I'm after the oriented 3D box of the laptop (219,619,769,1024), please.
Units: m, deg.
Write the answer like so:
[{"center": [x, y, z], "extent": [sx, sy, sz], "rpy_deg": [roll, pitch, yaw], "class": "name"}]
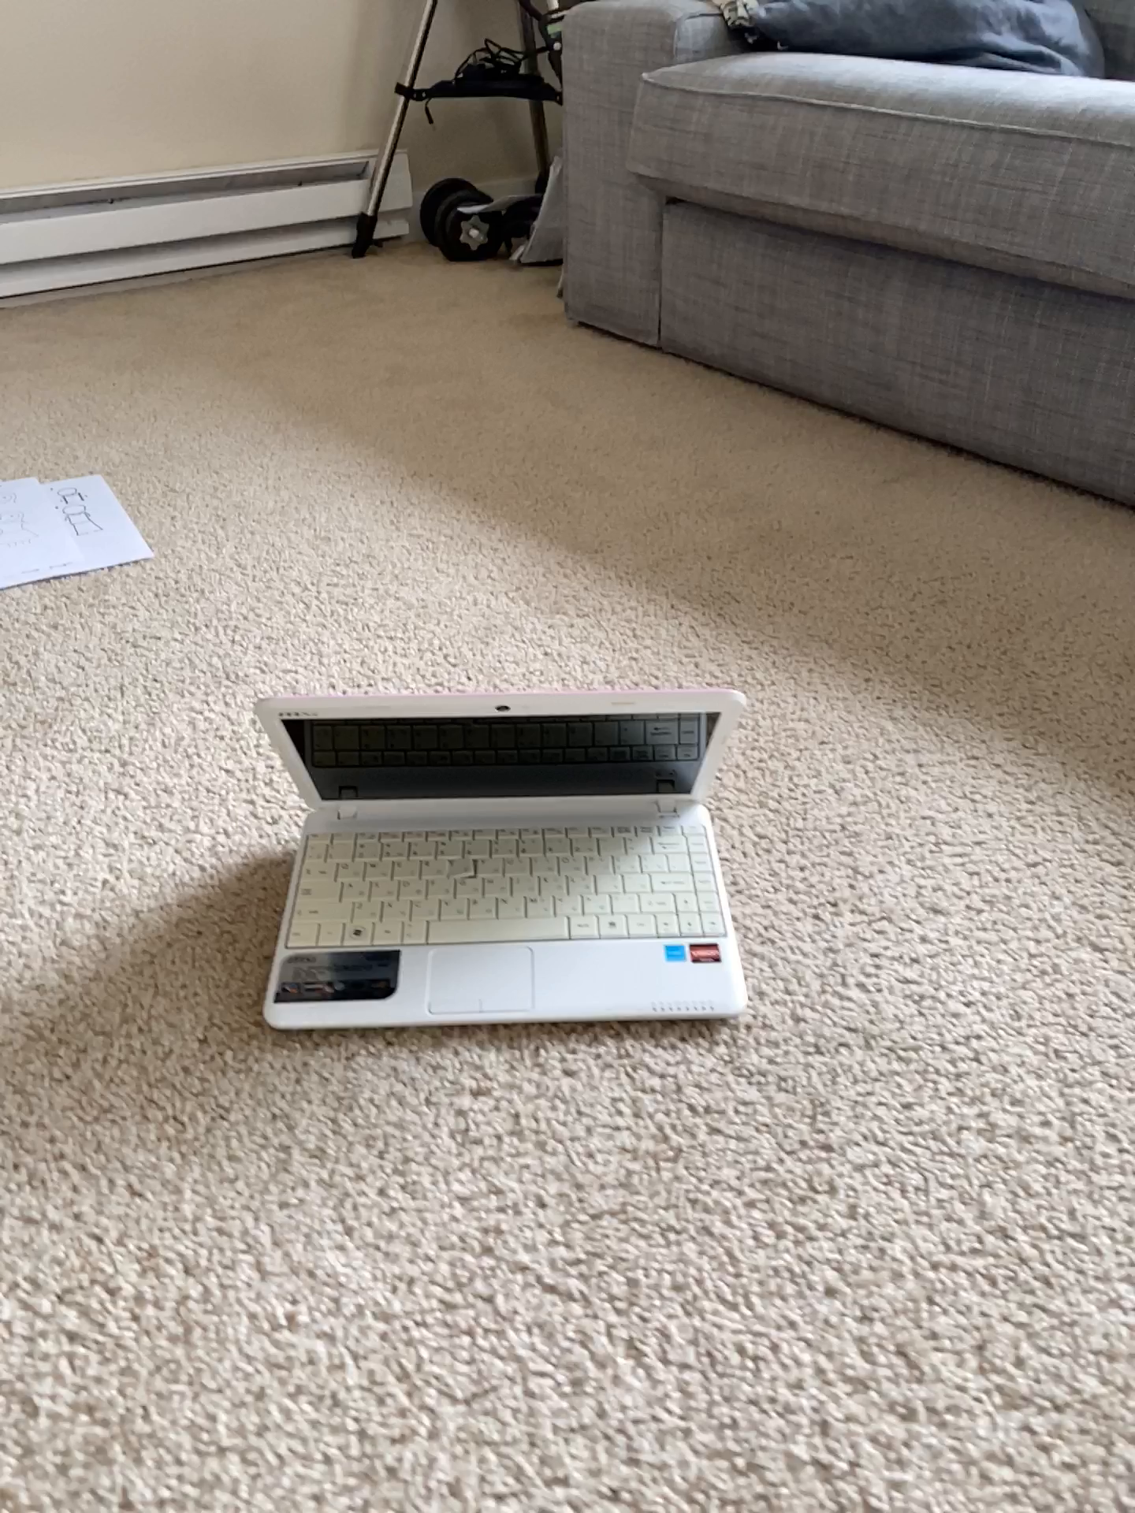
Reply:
[{"center": [-0.040, 0.034, 0.714], "extent": [0.286, 0.147, 0.189], "rpy_deg": [-1, 37, -2], "class": "laptop"}]
